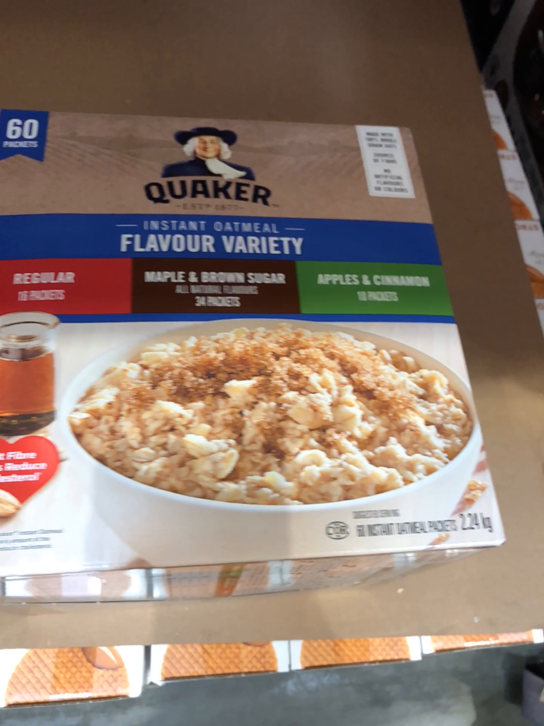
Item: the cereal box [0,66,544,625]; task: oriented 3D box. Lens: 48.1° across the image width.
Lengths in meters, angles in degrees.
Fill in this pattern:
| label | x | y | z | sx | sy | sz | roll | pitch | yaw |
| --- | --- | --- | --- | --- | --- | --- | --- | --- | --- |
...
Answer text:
| label | x | y | z | sx | sy | sz | roll | pitch | yaw |
| --- | --- | --- | --- | --- | --- | --- | --- | --- | --- |
| cereal box | -0.031 | 0.003 | 0.371 | 0.240 | 0.200 | 0.260 | -1 | 64 | -9 |
